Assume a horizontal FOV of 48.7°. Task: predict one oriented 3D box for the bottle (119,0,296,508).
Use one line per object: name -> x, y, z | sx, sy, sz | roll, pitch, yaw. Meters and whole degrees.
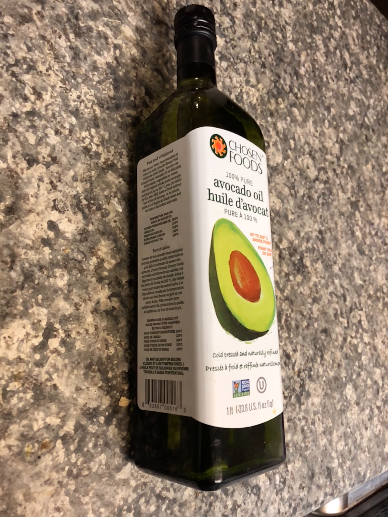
bottle -> 0.007, -0.029, 0.285 | 0.080, 0.070, 0.320 | 9, 76, -42
